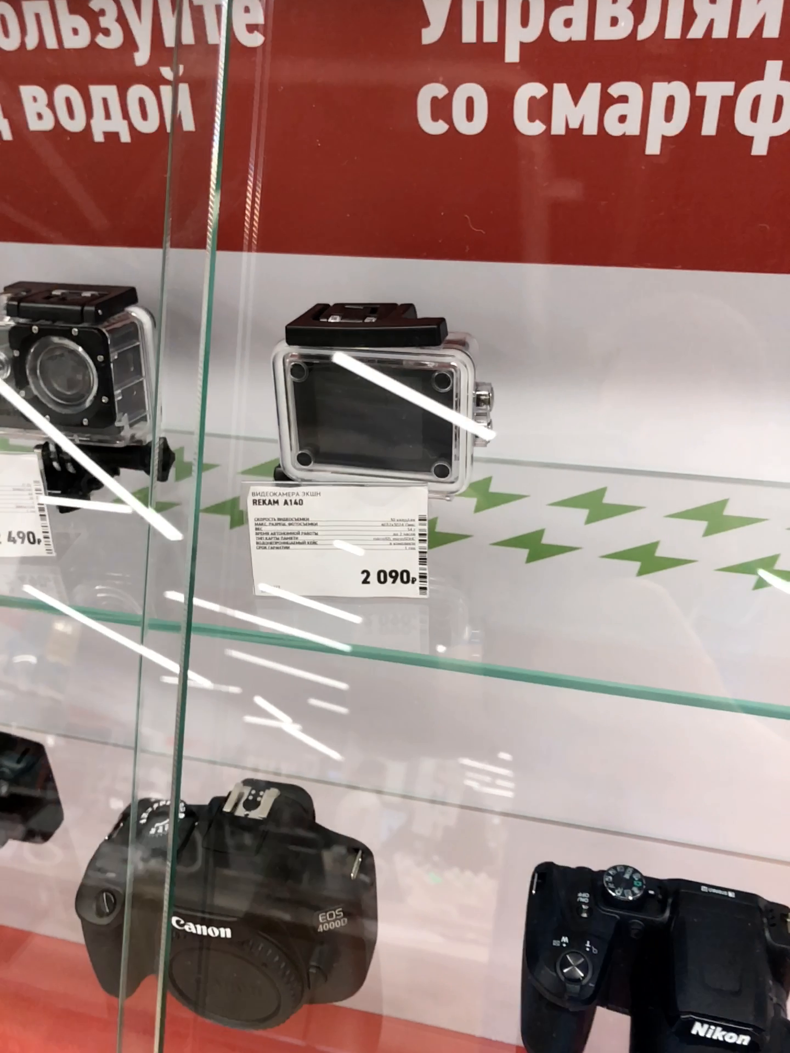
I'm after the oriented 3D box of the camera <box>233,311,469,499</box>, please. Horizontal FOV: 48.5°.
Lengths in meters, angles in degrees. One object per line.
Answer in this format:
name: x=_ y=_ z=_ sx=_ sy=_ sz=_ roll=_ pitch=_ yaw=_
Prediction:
camera: x=-0.014 y=-0.046 z=0.322 sx=0.075 sy=0.053 sz=0.040 roll=5 pitch=30 yaw=12
